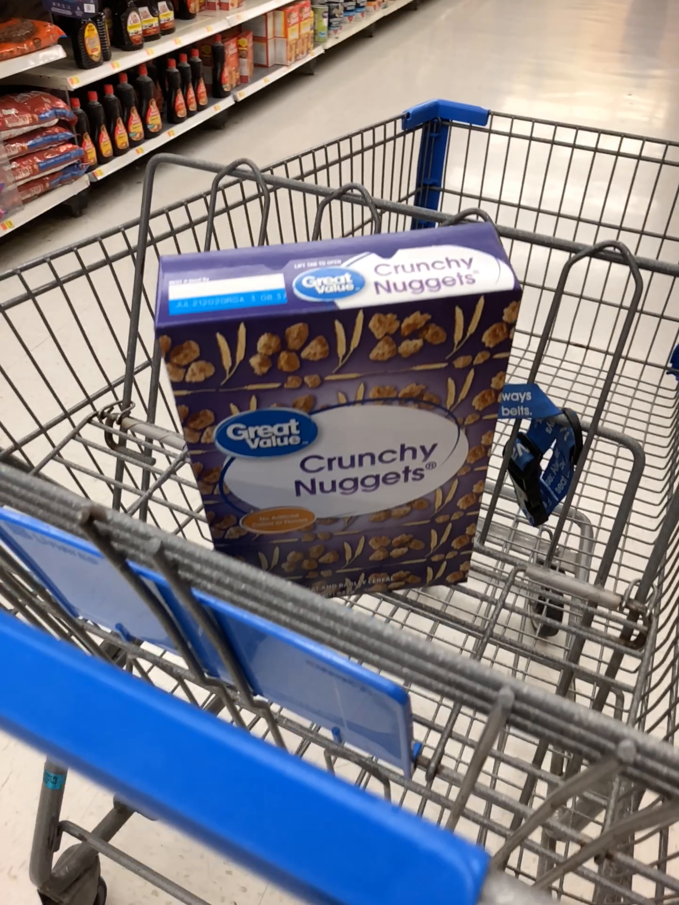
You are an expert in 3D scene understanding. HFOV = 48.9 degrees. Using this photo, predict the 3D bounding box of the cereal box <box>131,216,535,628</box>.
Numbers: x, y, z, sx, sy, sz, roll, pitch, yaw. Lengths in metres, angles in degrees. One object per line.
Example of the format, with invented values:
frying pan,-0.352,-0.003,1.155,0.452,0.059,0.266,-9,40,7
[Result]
cereal box,-0.006,-0.001,0.418,0.170,0.239,0.060,-7,47,-7
